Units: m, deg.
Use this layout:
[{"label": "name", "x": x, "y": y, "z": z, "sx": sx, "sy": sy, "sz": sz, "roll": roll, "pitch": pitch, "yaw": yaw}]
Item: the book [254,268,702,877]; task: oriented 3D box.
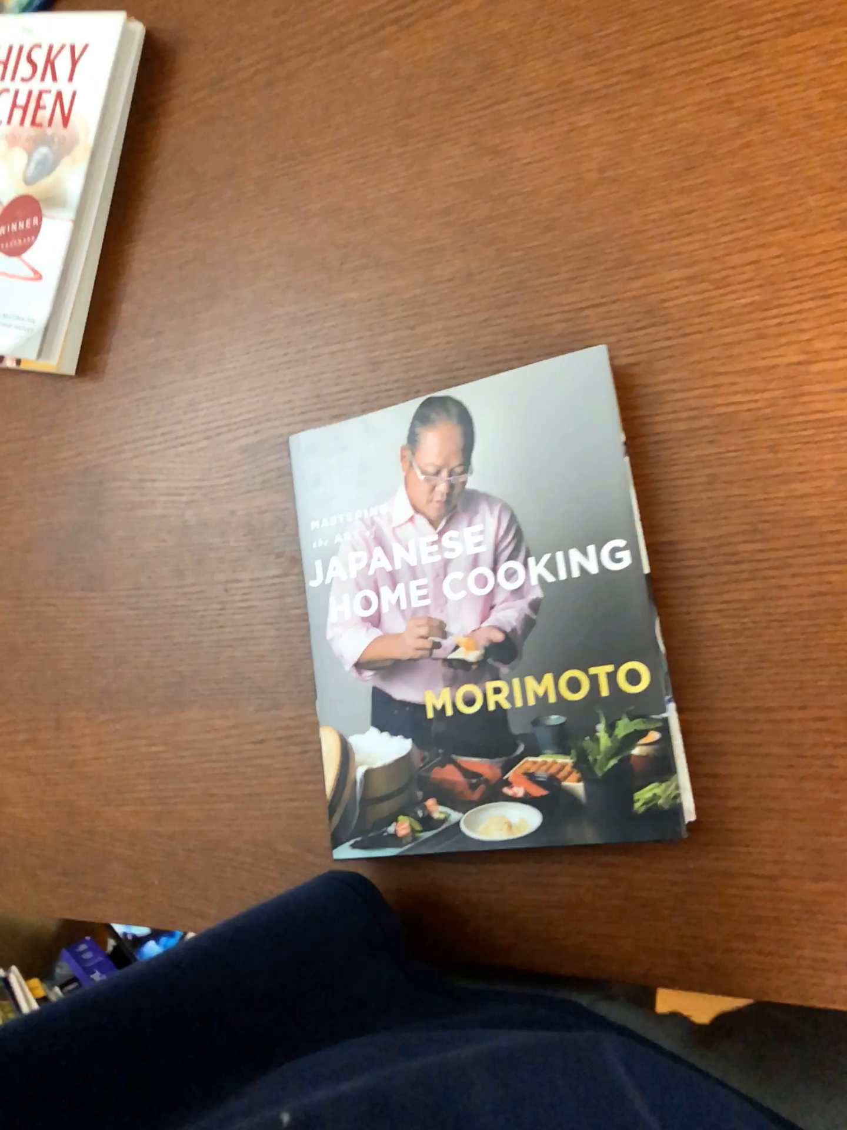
[{"label": "book", "x": 0.016, "y": 0.012, "z": 0.523, "sx": 0.220, "sy": 0.030, "sz": 0.300, "roll": -12, "pitch": 79, "yaw": 25}]
